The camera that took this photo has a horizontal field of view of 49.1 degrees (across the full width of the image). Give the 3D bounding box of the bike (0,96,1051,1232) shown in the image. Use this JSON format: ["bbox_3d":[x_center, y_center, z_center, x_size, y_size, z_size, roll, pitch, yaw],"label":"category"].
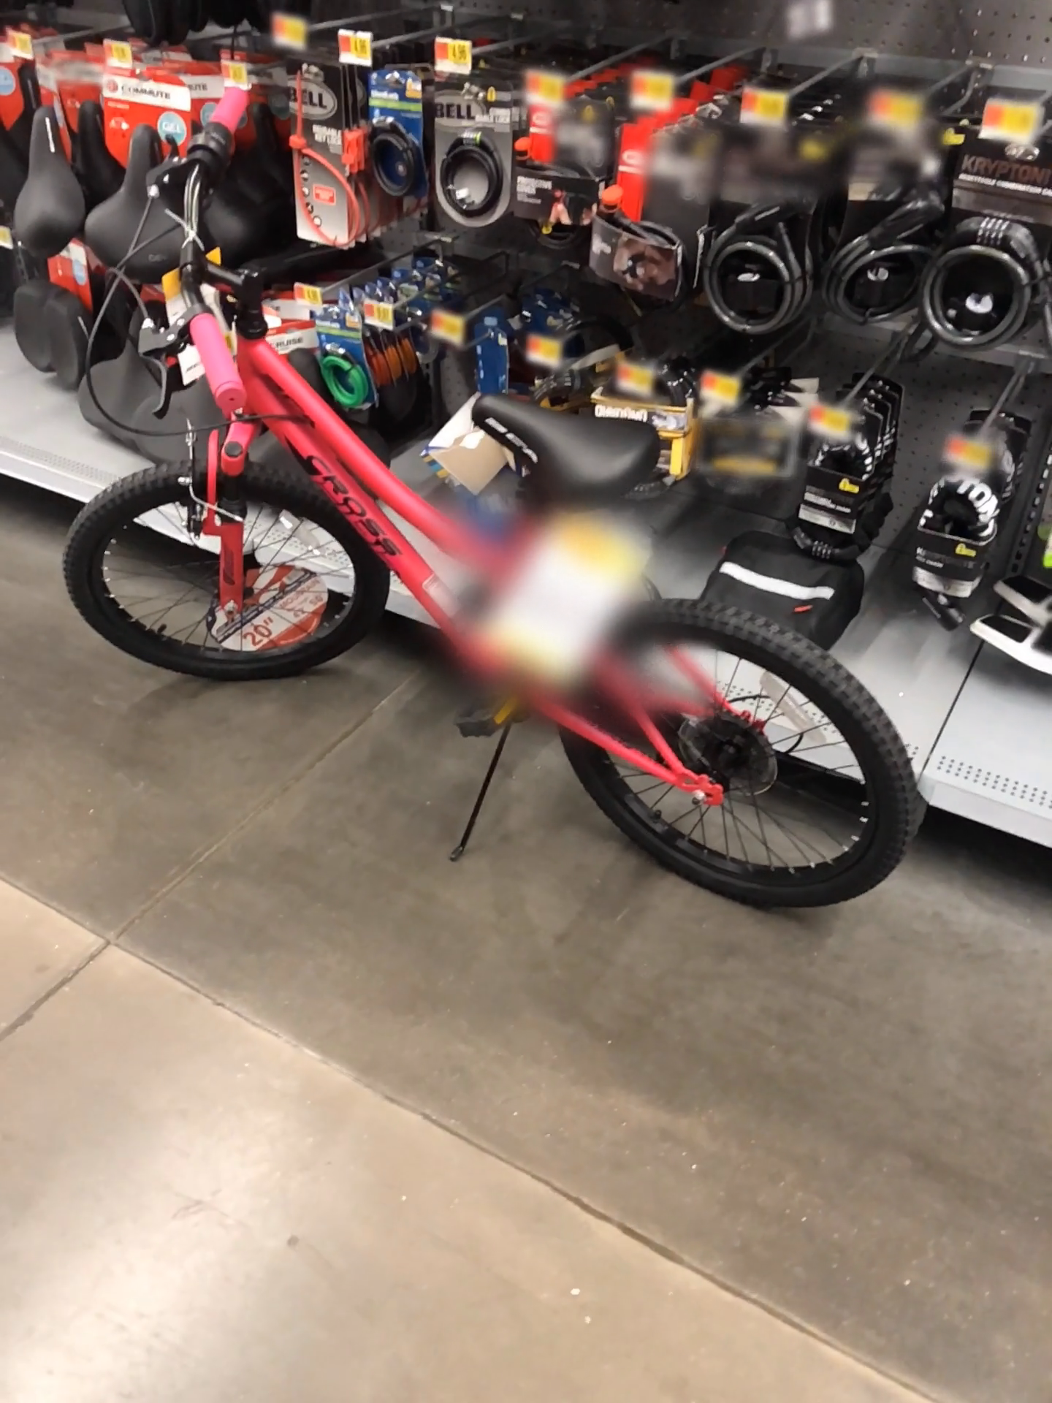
[{"bbox_3d":[-0.160,-0.117,1.338,1.224,0.877,0.610,17,40,20],"label":"bike"}]
